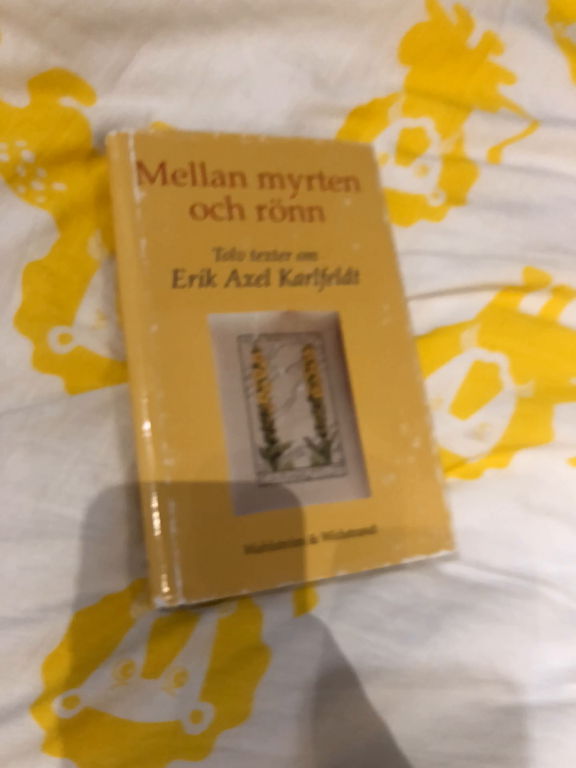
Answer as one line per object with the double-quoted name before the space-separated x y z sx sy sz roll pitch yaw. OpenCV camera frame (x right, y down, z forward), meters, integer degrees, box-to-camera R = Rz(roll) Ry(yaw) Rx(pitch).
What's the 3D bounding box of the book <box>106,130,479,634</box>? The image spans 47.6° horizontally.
"book" -0.003 -0.011 0.303 0.141 0.030 0.215 -2 73 -21
